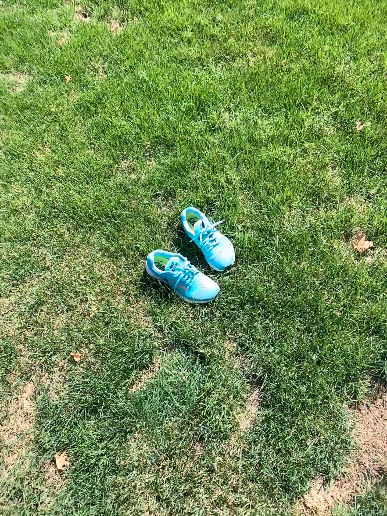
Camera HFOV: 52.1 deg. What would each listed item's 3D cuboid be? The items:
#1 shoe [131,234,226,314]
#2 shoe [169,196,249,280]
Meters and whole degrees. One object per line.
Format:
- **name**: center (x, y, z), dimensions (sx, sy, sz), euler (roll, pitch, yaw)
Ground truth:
- **shoe**: center (-0.045, 0.047, 1.224), dimensions (0.261, 0.090, 0.120), euler (27, 67, 20)
- **shoe**: center (0.046, -0.067, 1.258), dimensions (0.120, 0.070, 0.251), euler (-36, 63, -10)
